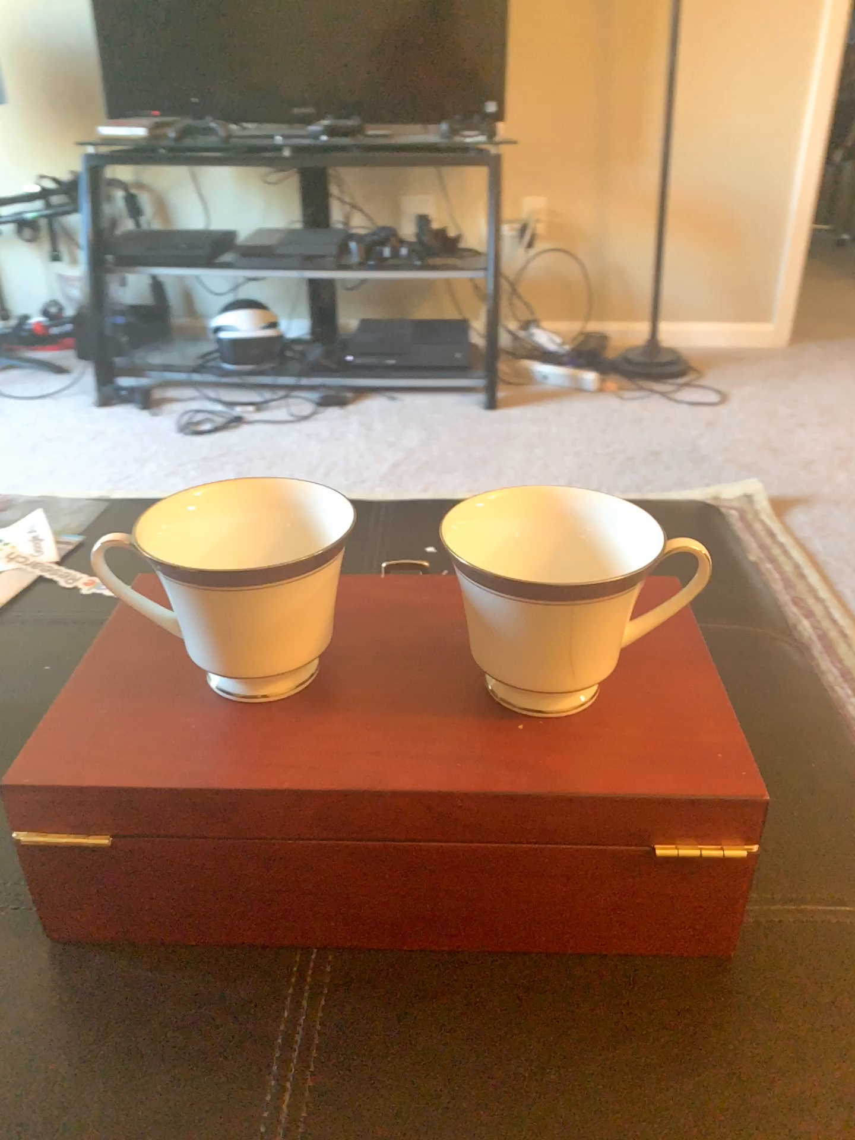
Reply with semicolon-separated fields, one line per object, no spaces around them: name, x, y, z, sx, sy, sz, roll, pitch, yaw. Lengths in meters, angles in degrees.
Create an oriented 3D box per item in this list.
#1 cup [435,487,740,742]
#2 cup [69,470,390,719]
cup;0.061;0.015;0.377;0.110;0.070;0.091;1;29;3
cup;-0.077;0.007;0.385;0.110;0.070;0.091;1;29;4
